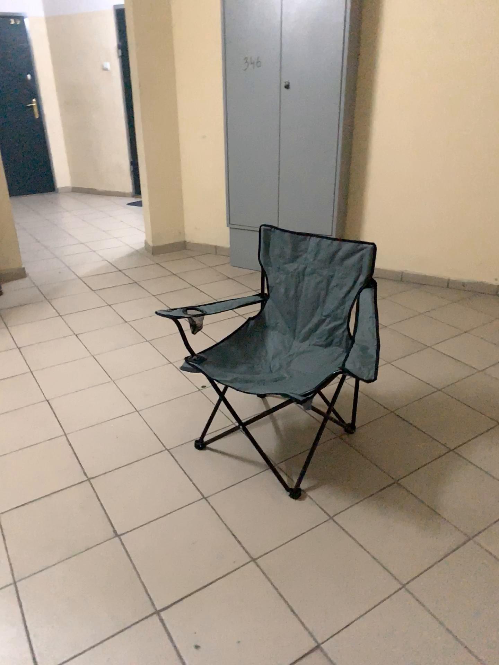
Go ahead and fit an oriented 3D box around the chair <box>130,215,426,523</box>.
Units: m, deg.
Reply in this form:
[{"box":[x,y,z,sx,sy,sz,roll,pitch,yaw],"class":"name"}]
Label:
[{"box":[0.101,0.056,1.827,0.801,0.756,0.562,15,30,30],"class":"chair"}]
